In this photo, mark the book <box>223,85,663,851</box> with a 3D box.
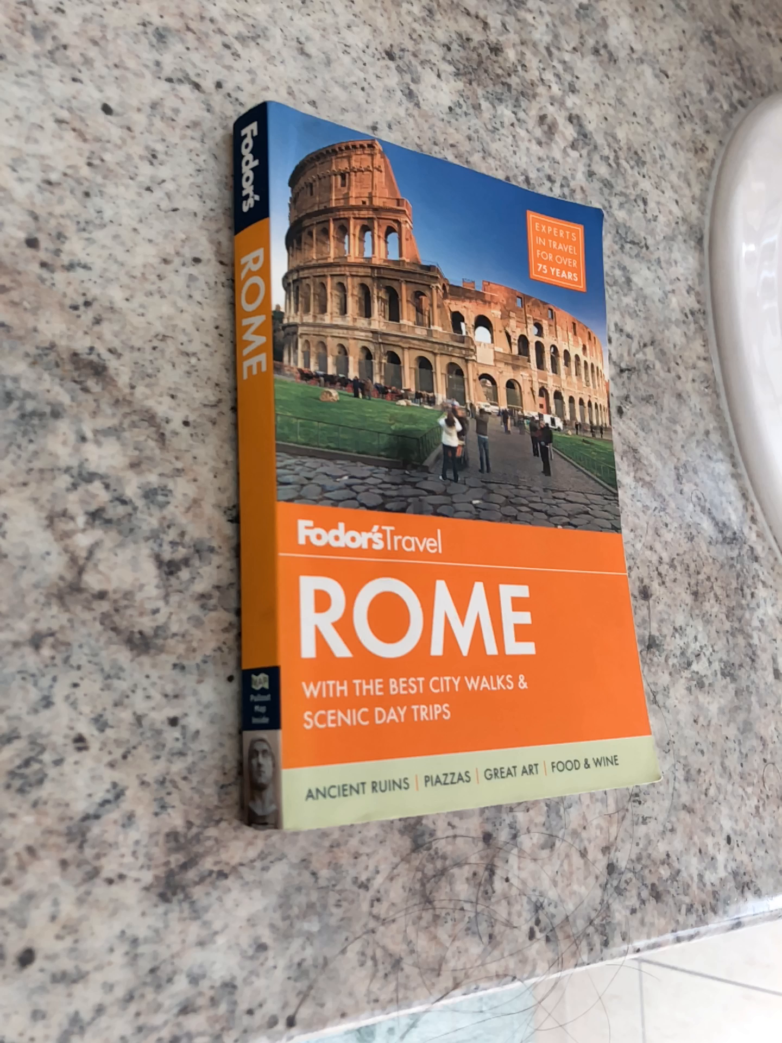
[{"bbox_3d":[0.018,-0.016,0.274,0.139,0.023,0.207,5,76,-32],"label":"book"}]
